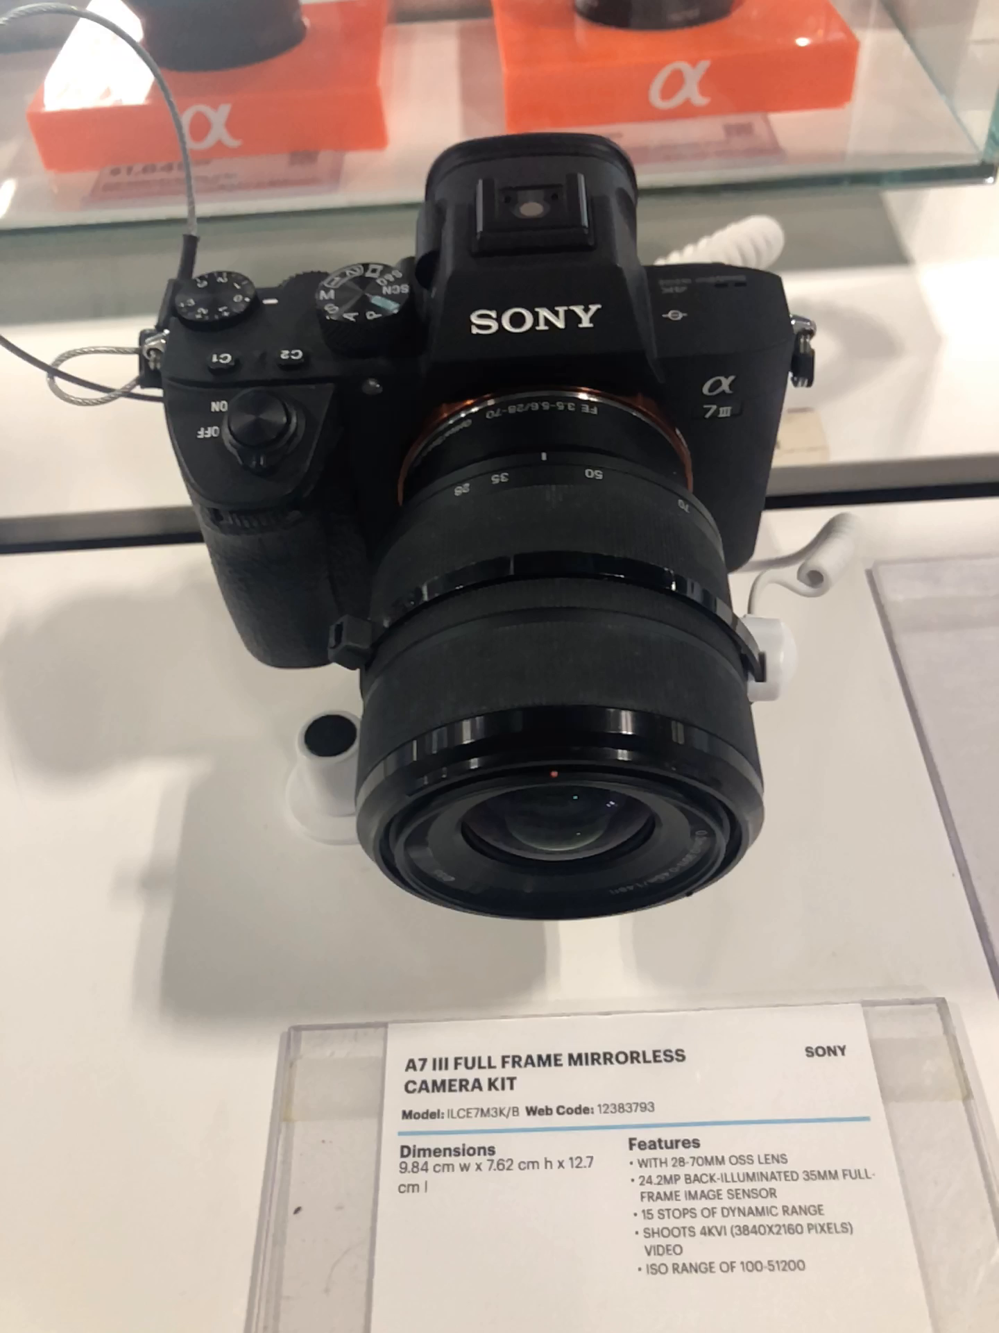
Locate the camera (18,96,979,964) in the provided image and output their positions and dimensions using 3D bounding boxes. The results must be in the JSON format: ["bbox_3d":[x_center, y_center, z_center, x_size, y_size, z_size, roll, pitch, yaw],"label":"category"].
[{"bbox_3d":[0.000,-0.027,0.218,0.120,0.099,0.131,-3,51,2],"label":"camera"}]
